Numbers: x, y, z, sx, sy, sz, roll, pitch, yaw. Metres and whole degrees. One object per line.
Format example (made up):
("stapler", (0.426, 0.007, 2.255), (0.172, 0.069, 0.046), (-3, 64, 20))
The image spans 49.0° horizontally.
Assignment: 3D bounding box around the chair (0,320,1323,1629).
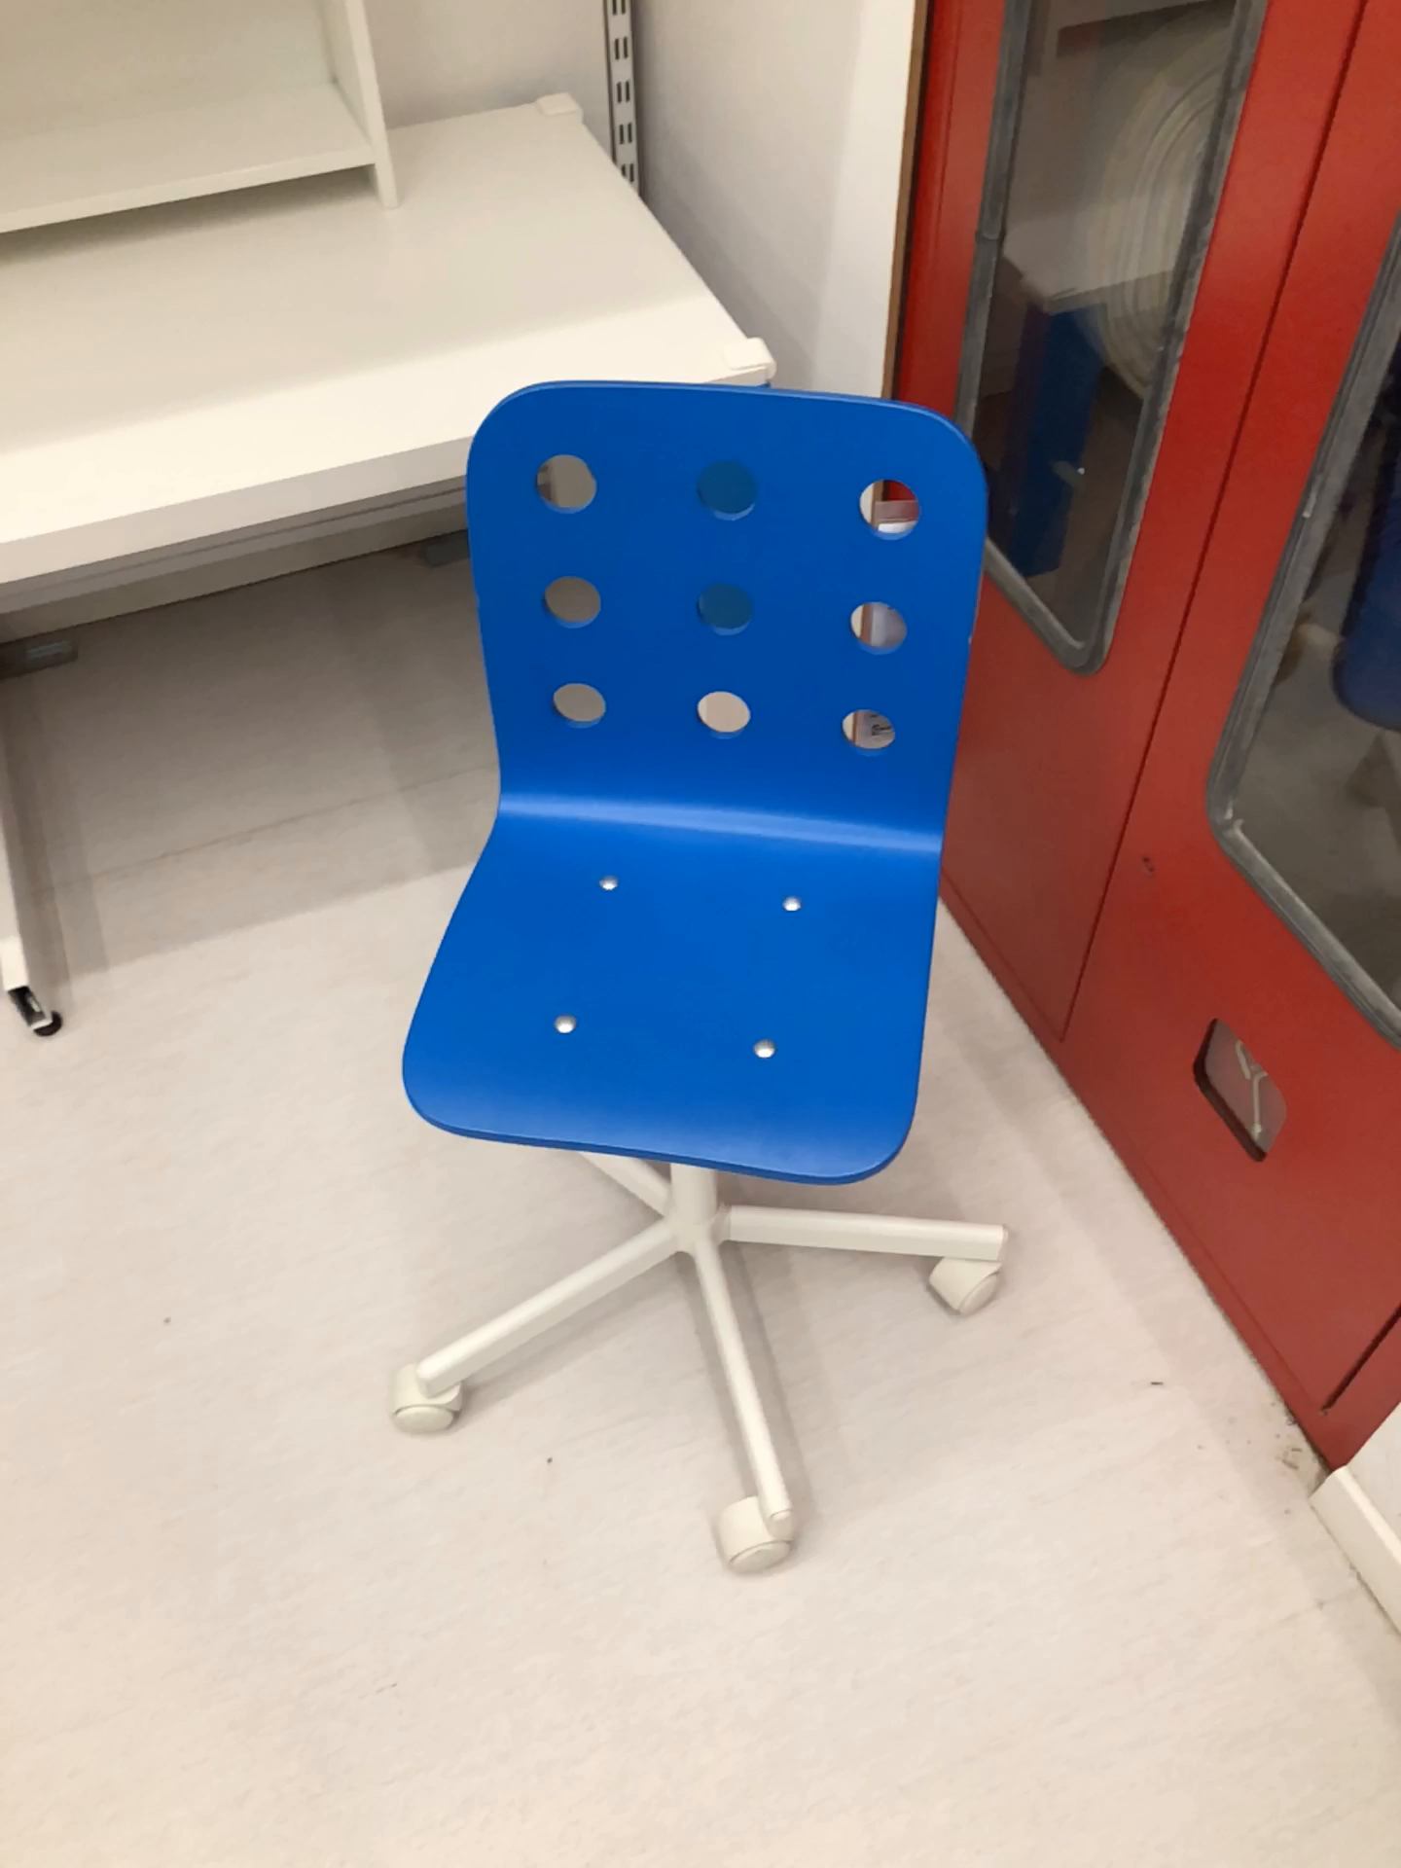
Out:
("chair", (-0.005, 0.062, 1.011), (0.550, 0.686, 0.493), (6, 51, 6))
